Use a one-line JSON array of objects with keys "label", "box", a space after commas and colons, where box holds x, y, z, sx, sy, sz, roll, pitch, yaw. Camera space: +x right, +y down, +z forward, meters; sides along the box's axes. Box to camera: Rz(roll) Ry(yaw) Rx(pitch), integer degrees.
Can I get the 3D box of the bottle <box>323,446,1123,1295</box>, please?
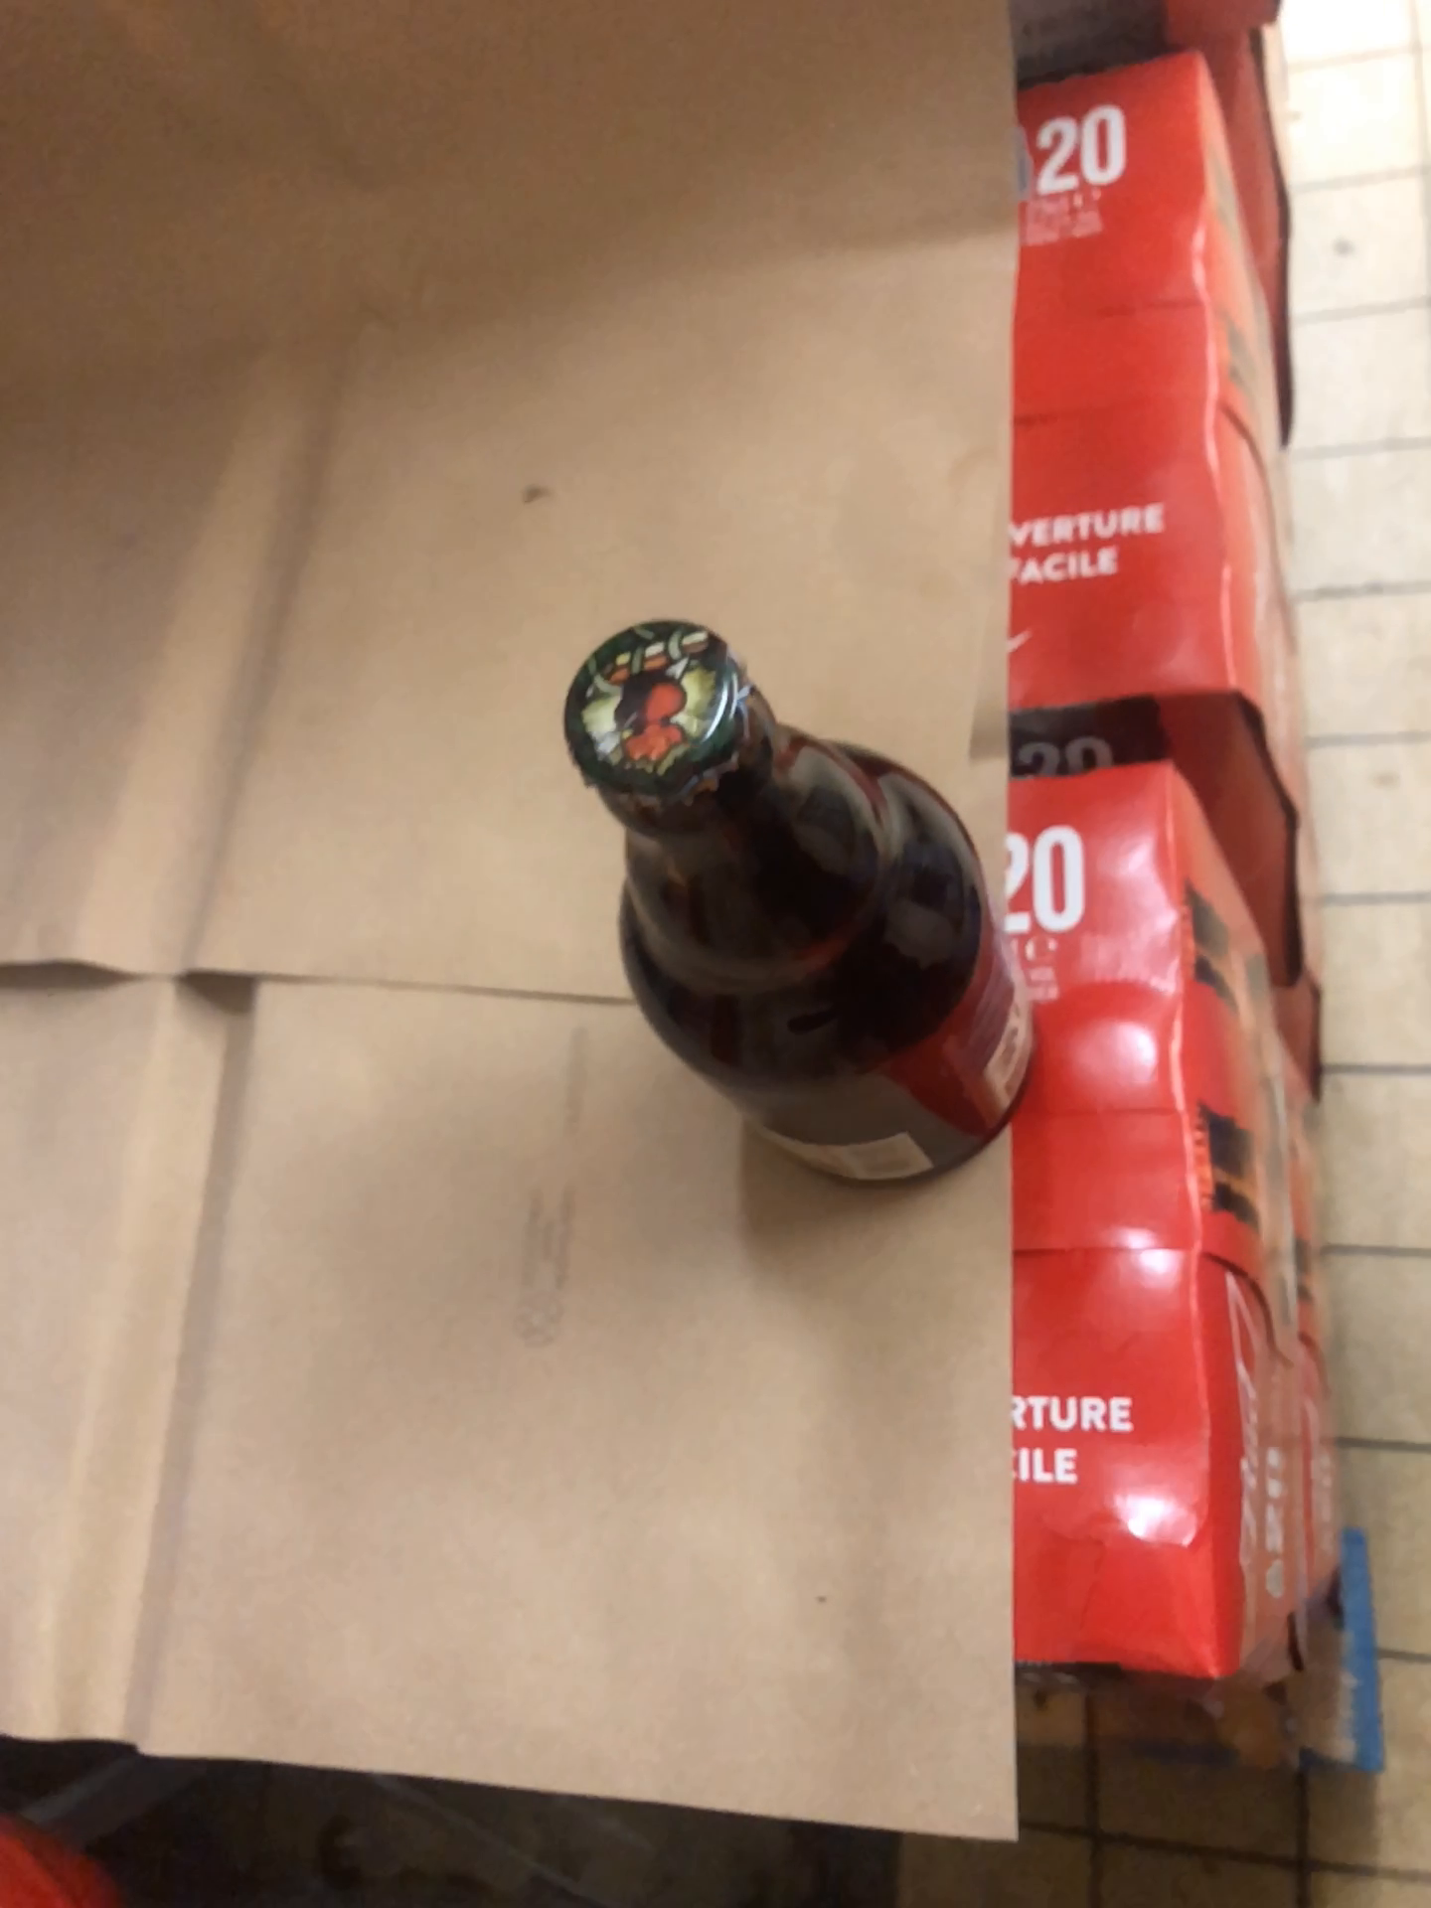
[{"label": "bottle", "box": [0.015, 0.003, 0.294, 0.080, 0.170, 0.080, -5, 72, 17]}]
